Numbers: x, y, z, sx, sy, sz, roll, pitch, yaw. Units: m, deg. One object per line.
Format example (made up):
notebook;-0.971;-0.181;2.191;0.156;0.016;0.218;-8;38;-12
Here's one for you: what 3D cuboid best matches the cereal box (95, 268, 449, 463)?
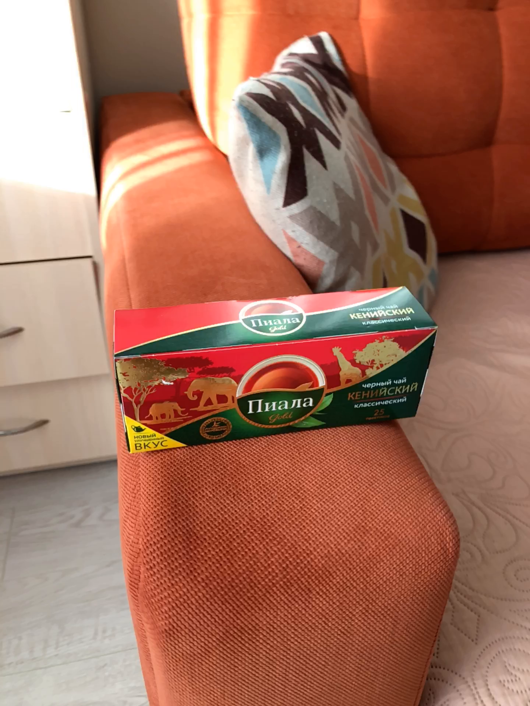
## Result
cereal box;0.003;0.004;0.314;0.170;0.070;0.050;-6;33;-10
